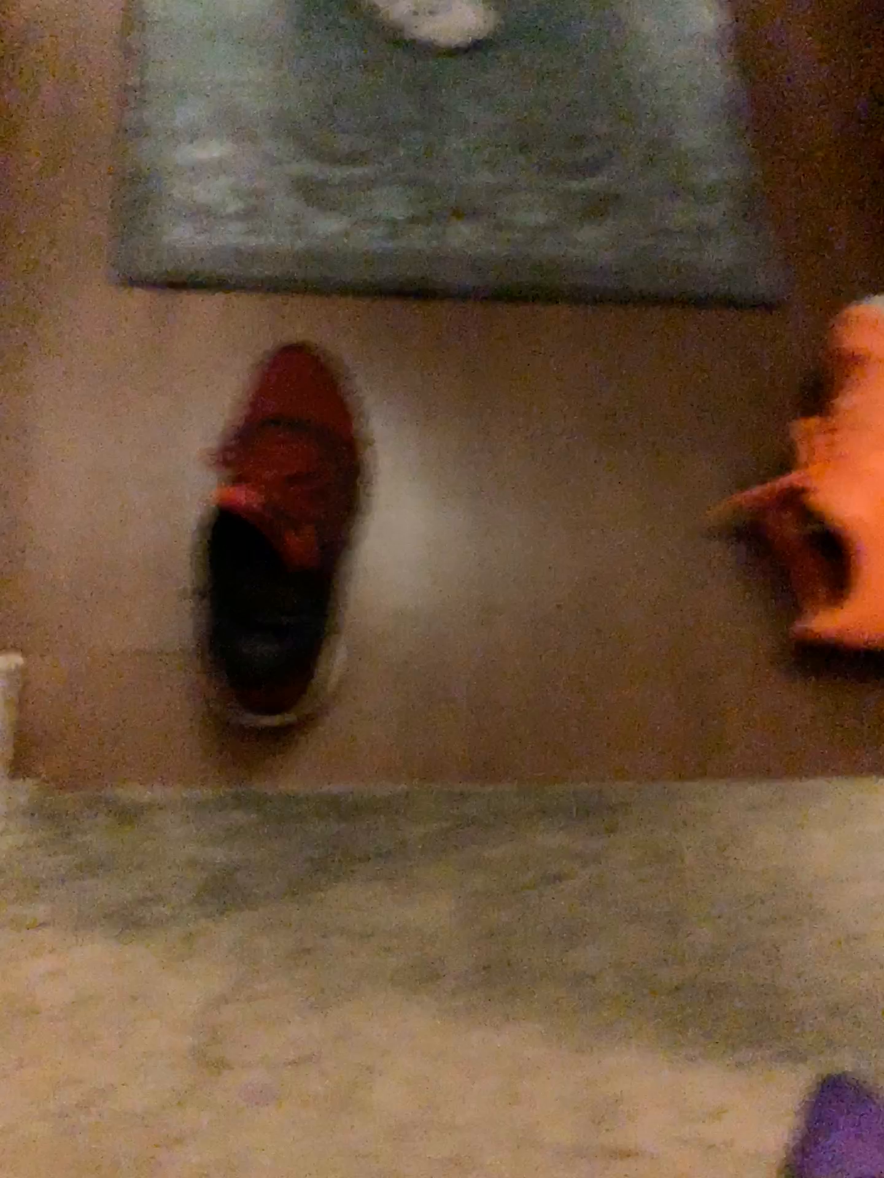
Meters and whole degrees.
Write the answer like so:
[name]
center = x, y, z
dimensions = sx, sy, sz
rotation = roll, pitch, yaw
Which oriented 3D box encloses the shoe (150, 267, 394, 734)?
[shoe]
center = -0.117, -0.059, 0.729
dimensions = 0.130, 0.140, 0.300
rotation = 5, 72, -7
